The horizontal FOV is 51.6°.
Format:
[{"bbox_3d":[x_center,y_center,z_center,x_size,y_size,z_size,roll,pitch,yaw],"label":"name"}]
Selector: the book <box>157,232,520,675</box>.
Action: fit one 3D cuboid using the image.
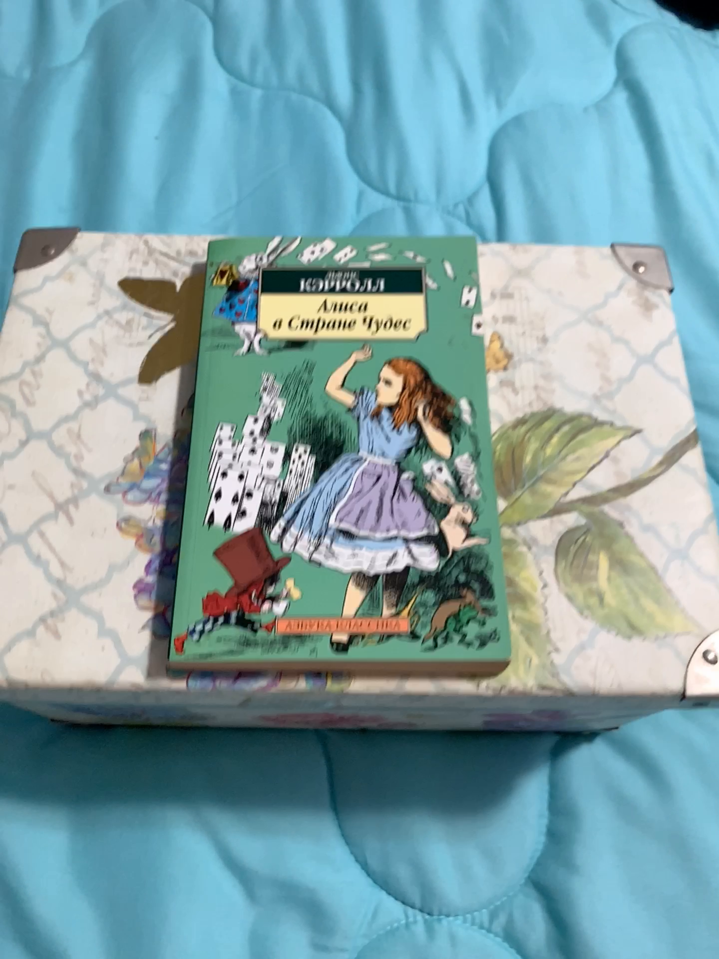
[{"bbox_3d":[-0.008,-0.018,0.287,0.118,0.018,0.180,0,66,-3],"label":"book"}]
